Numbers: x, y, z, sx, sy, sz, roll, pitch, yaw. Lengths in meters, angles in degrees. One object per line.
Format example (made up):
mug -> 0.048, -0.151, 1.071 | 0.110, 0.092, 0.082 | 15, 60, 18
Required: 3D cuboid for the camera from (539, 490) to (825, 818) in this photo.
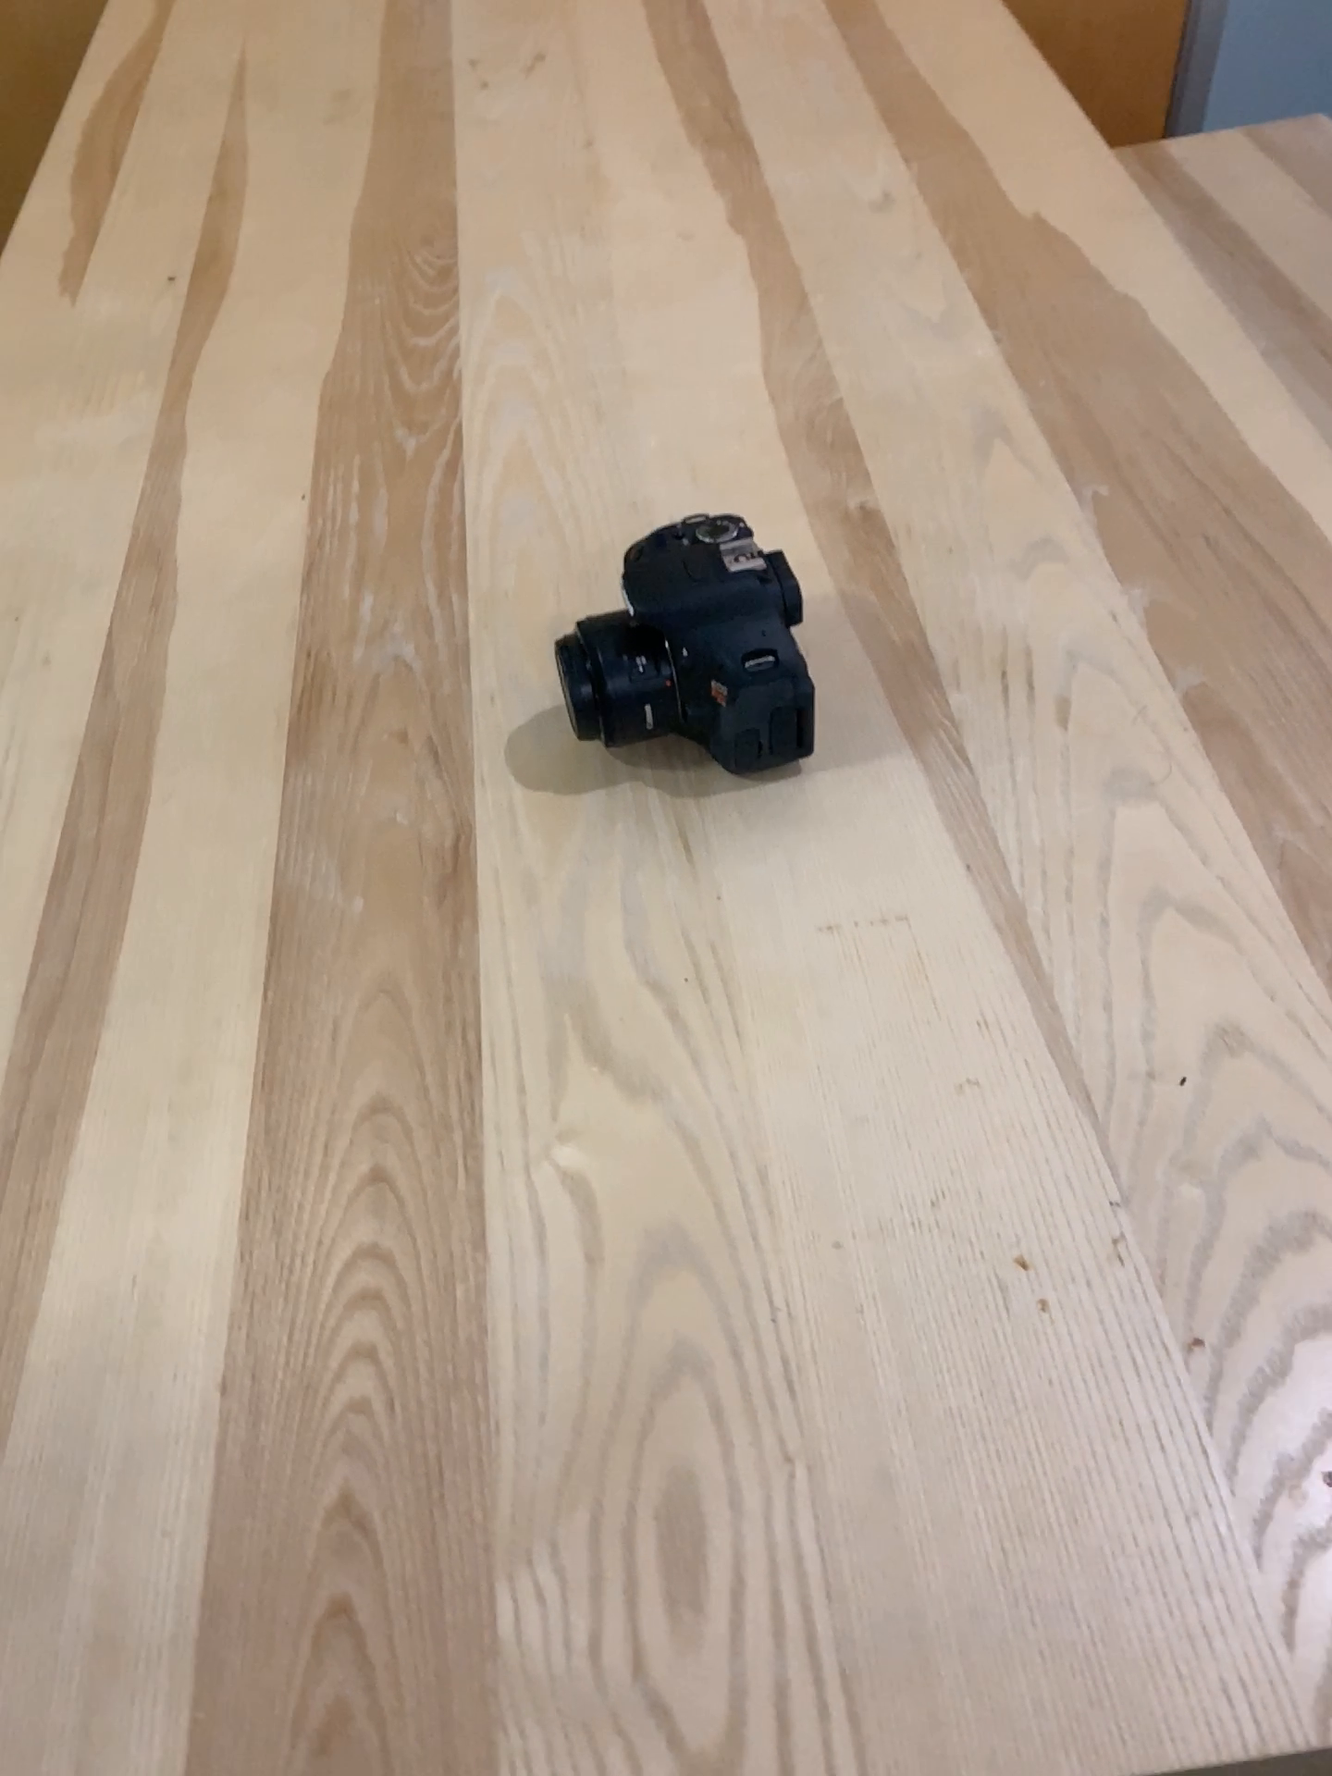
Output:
camera -> 0.004, -0.124, 0.715 | 0.113, 0.101, 0.121 | -11, 50, -11
